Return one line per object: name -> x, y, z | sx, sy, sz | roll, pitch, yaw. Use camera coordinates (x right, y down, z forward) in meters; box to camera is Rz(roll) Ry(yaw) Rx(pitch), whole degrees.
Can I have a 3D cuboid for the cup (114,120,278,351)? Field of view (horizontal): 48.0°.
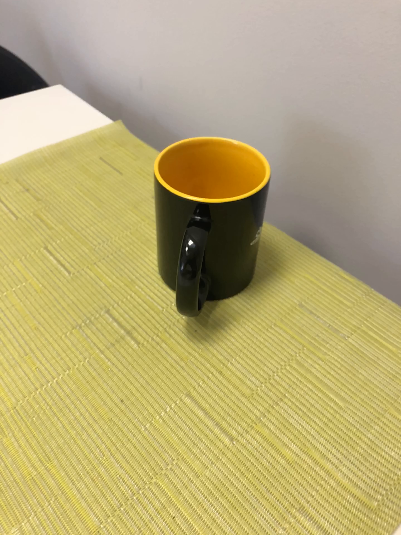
cup -> 0.002, -0.025, 0.320 | 0.088, 0.104, 0.120 | 6, 44, 3
